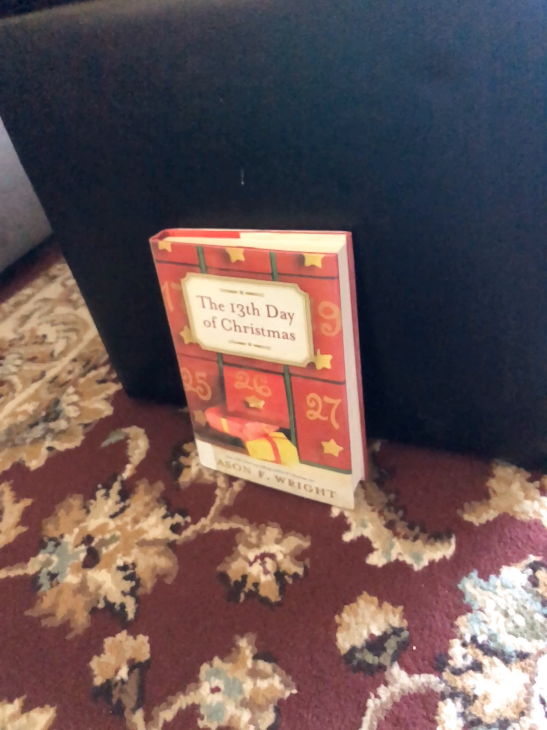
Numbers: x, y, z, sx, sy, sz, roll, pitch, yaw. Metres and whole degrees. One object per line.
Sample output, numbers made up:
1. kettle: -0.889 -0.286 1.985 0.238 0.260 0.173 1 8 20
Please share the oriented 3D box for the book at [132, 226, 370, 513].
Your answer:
1. book: -0.009 0.004 0.427 0.138 0.190 0.040 7 33 26
